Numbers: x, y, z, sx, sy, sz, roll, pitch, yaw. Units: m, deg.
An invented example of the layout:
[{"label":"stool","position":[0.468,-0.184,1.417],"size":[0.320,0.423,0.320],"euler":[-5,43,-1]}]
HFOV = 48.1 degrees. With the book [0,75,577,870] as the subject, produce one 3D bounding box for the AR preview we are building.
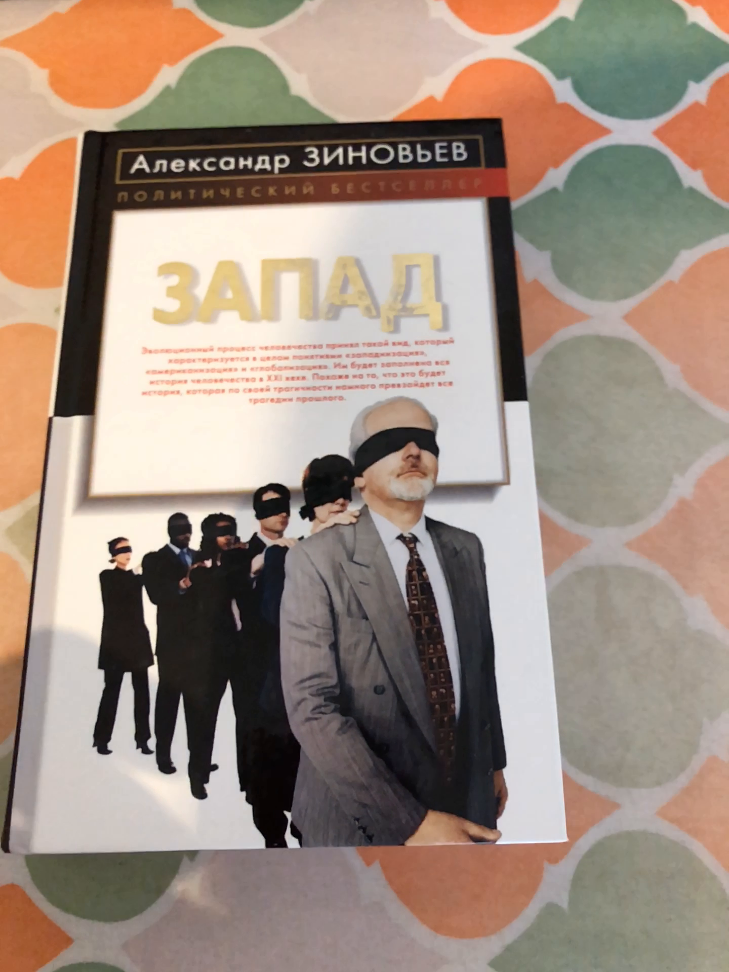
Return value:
[{"label":"book","position":[-0.025,-0.014,0.234],"size":[0.140,0.040,0.221],"euler":[-1,71,2]}]
